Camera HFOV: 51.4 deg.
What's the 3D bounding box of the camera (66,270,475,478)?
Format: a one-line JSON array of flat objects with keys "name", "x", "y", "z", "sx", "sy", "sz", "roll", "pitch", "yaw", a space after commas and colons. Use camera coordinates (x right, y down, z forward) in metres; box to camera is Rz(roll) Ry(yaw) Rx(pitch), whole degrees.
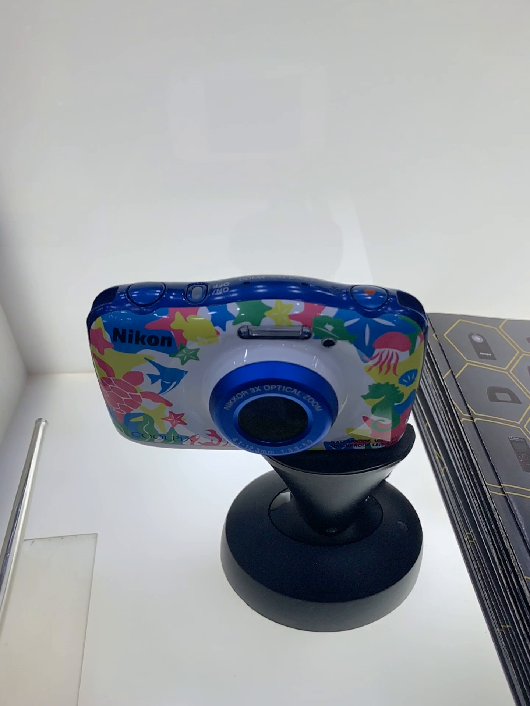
[{"name": "camera", "x": 0.002, "y": 0.008, "z": 0.196, "sx": 0.120, "sy": 0.060, "sz": 0.040, "roll": 1, "pitch": 42, "yaw": 1}]
